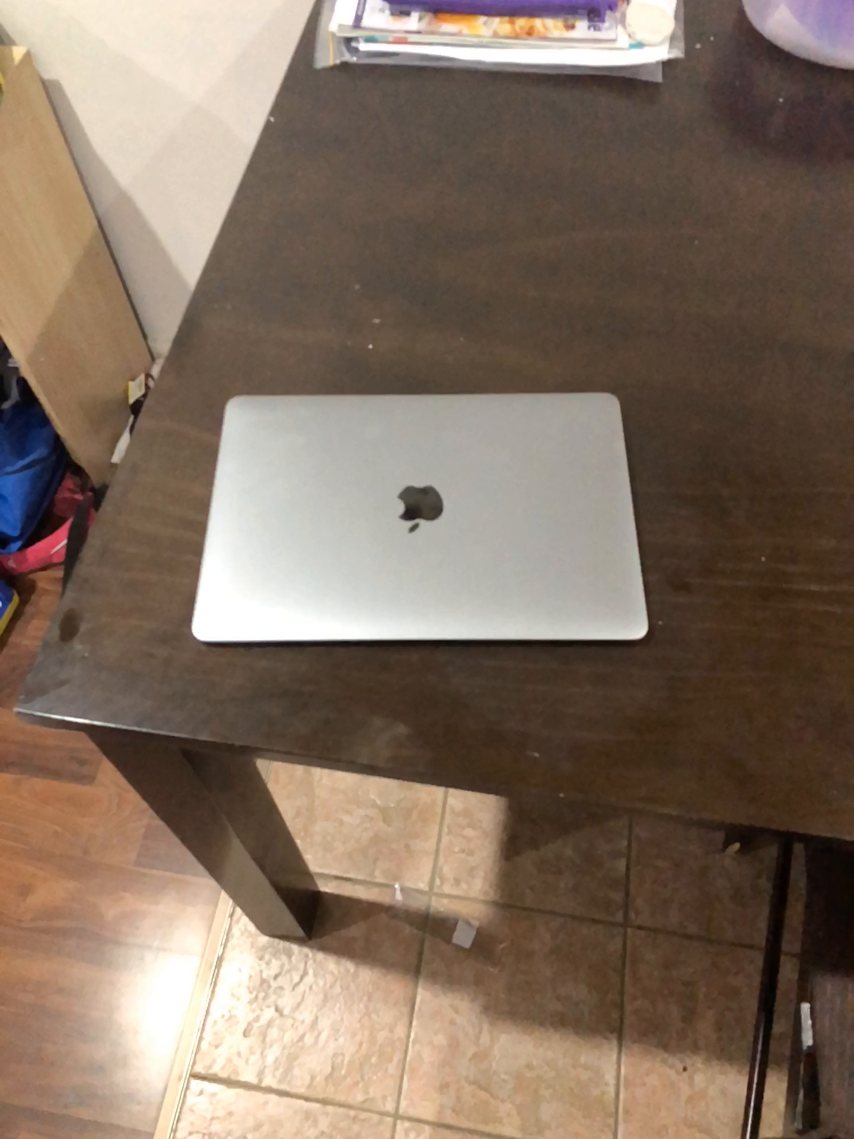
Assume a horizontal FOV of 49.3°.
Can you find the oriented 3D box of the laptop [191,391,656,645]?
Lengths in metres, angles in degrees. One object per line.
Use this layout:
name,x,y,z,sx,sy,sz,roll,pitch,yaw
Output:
laptop,-0.001,-0.041,0.603,0.275,0.002,0.196,0,58,-1
